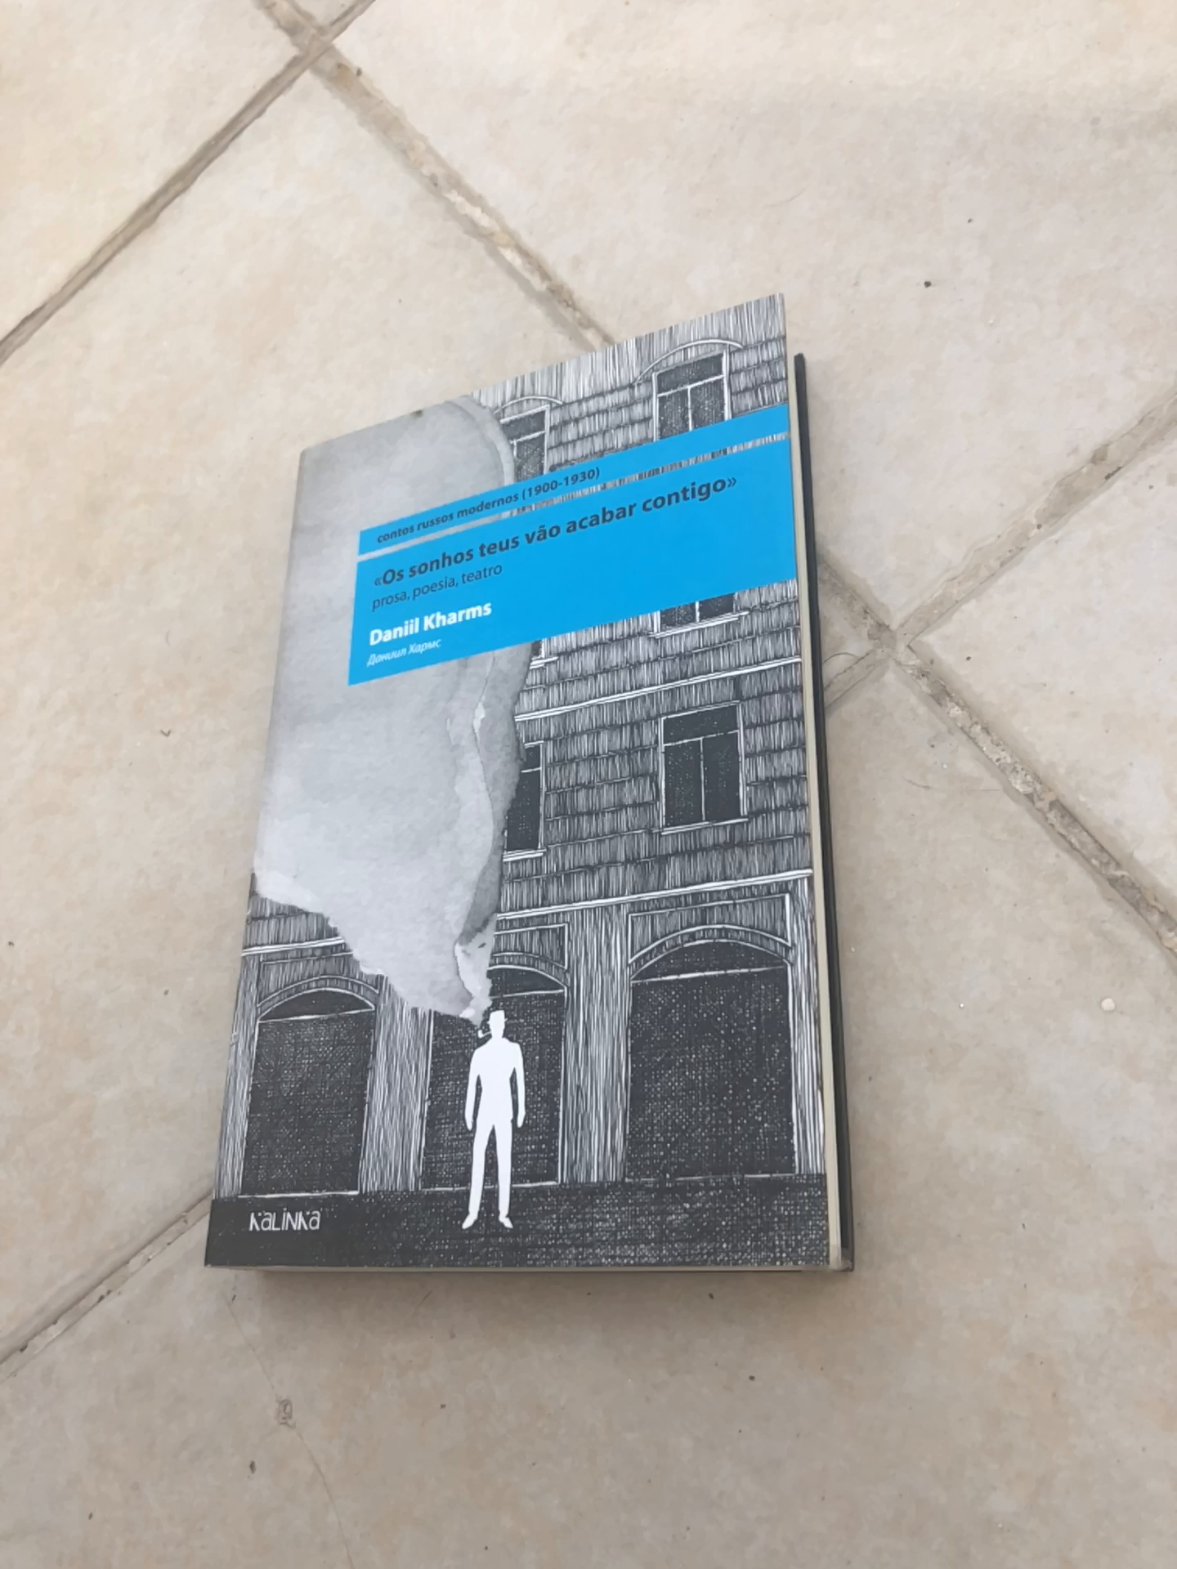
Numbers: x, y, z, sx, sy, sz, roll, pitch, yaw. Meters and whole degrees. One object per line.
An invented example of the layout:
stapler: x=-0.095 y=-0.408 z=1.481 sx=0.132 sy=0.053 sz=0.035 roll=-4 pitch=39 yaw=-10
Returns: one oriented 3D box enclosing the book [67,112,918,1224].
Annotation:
book: x=-0.015 y=-0.017 z=0.224 sx=0.120 sy=0.040 sz=0.170 roll=-10 pitch=65 yaw=24
